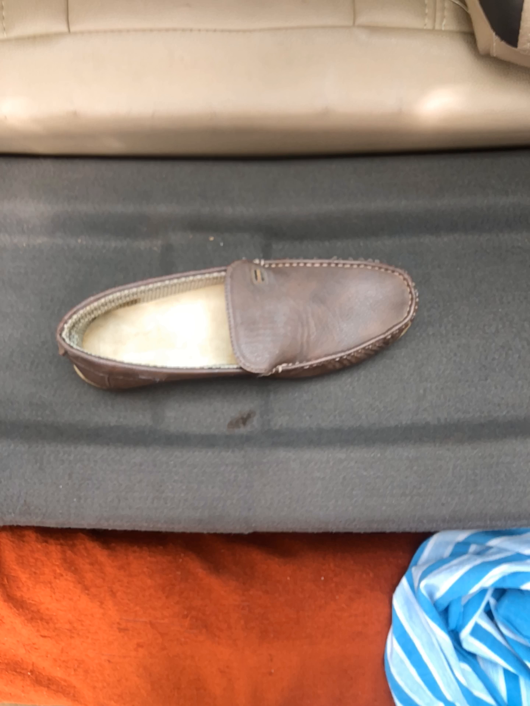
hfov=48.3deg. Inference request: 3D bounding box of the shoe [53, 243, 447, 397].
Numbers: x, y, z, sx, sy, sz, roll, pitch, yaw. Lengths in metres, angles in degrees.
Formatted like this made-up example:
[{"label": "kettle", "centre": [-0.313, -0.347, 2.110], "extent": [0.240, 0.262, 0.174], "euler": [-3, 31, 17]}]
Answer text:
[{"label": "shoe", "centre": [-0.012, -0.022, 0.425], "extent": [0.260, 0.050, 0.080], "euler": [-4, 73, 1]}]
